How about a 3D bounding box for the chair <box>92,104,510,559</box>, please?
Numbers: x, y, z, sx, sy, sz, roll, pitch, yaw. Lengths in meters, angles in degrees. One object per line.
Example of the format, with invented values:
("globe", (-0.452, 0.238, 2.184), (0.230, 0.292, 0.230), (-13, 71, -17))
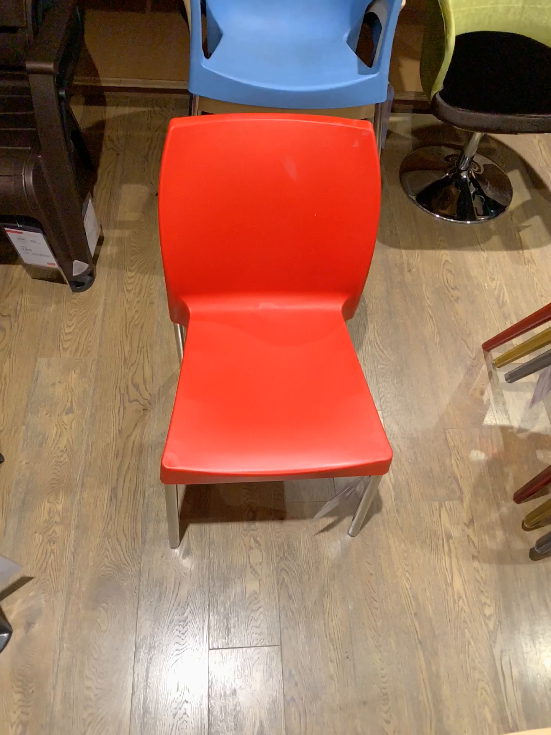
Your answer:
("chair", (-0.013, -0.008, 1.175), (0.520, 0.788, 0.592), (-2, 59, -6))
